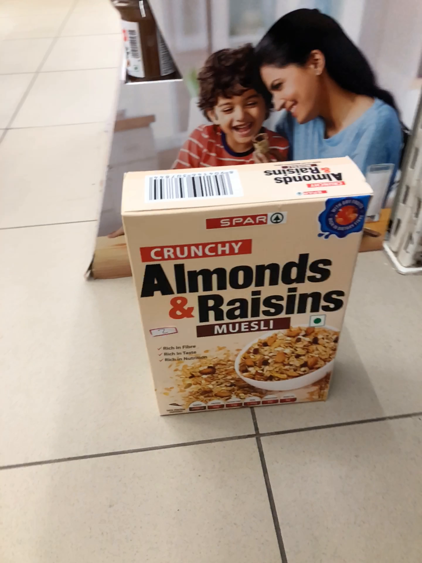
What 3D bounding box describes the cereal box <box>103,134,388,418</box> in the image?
[{"bbox_3d":[0.025,0.010,0.391,0.180,0.238,0.060,-5,40,-3],"label":"cereal box"}]
